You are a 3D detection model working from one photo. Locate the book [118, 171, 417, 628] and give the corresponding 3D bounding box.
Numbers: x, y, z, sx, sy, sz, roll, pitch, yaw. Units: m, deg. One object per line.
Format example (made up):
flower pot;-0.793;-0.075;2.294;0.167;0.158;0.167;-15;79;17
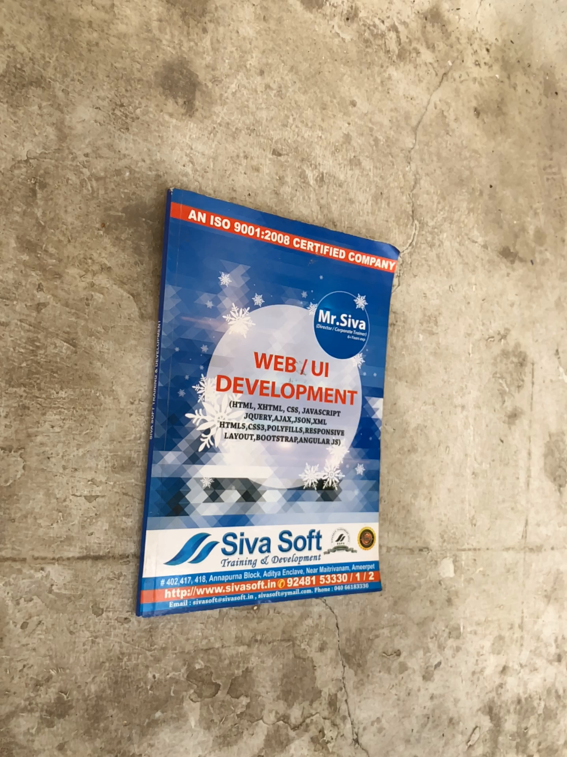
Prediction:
book;0.001;0.020;0.453;0.211;0.030;0.280;7;84;-32
